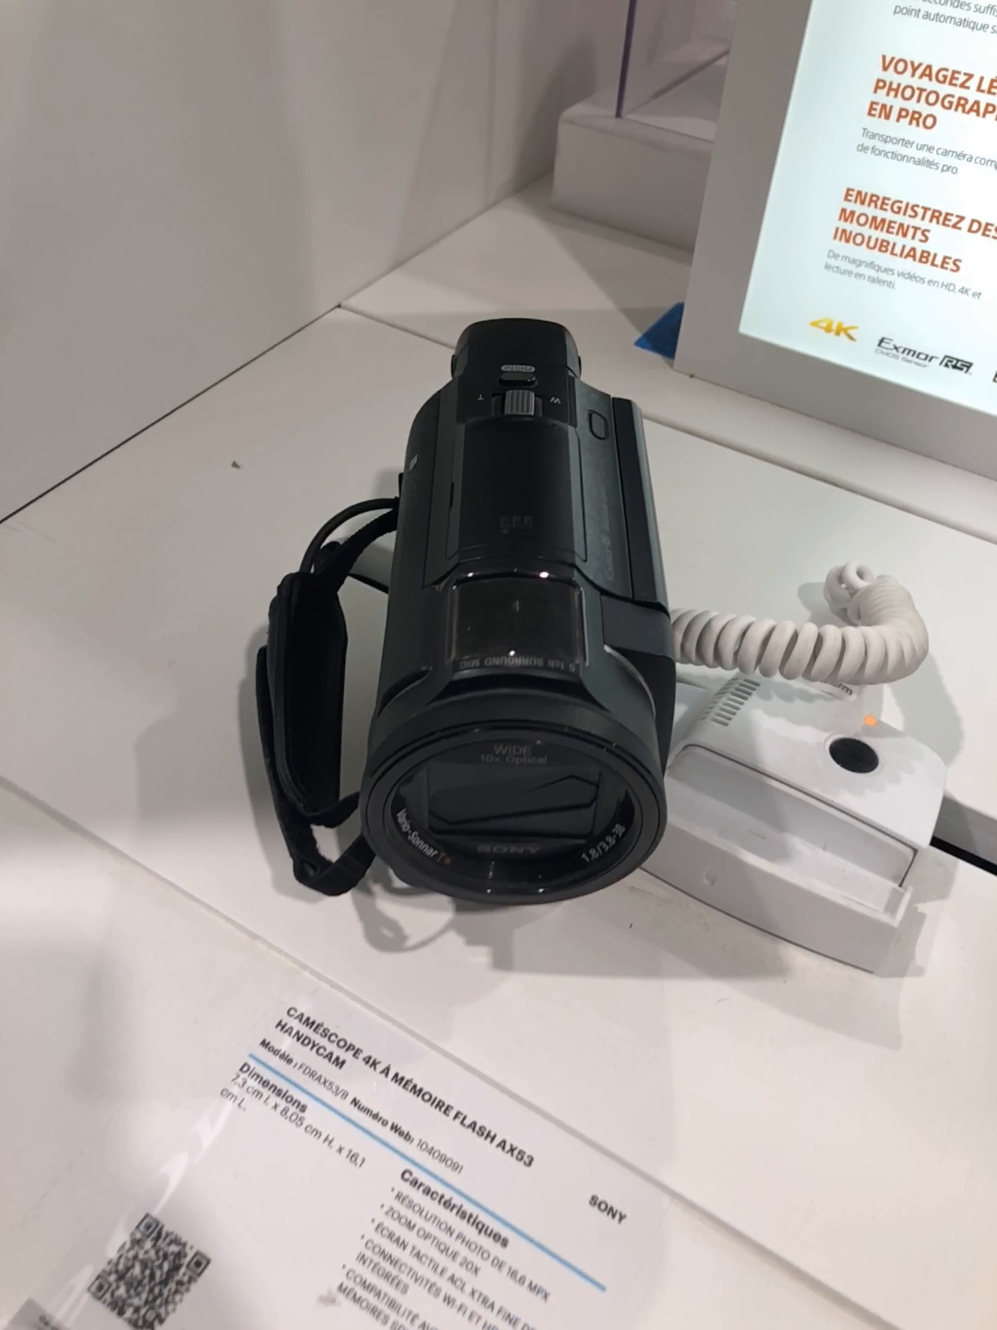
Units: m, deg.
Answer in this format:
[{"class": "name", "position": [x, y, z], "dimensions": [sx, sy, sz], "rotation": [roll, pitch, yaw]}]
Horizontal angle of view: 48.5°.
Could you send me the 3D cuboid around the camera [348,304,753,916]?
[{"class": "camera", "position": [0.006, -0.021, 0.277], "dimensions": [0.073, 0.070, 0.149], "rotation": [1, 44, -3]}]
